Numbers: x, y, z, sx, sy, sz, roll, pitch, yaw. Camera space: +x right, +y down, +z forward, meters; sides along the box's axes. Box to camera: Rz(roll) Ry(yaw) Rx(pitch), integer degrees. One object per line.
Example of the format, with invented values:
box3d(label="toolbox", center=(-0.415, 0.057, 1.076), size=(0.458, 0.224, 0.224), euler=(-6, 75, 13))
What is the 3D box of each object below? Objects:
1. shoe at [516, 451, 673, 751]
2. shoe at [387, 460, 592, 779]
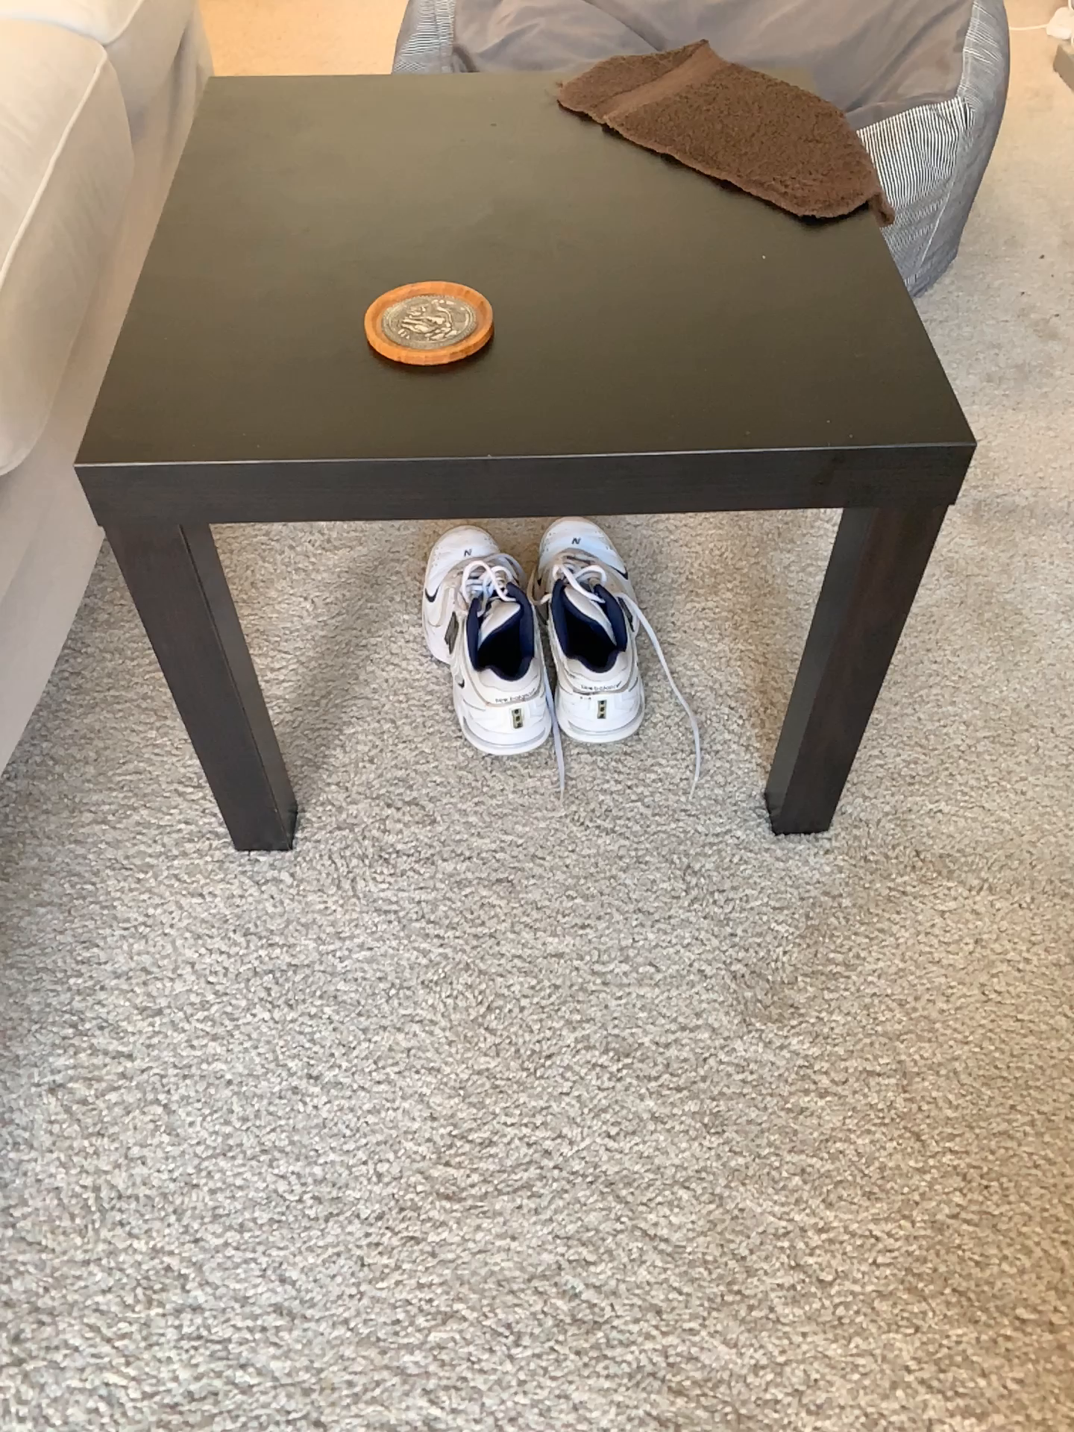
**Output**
box3d(label="shoe", center=(0.047, -0.120, 1.066), size=(0.110, 0.100, 0.301), euler=(-4, 52, -3))
box3d(label="shoe", center=(-0.051, -0.100, 1.035), size=(0.110, 0.100, 0.301), euler=(-13, 53, -11))
